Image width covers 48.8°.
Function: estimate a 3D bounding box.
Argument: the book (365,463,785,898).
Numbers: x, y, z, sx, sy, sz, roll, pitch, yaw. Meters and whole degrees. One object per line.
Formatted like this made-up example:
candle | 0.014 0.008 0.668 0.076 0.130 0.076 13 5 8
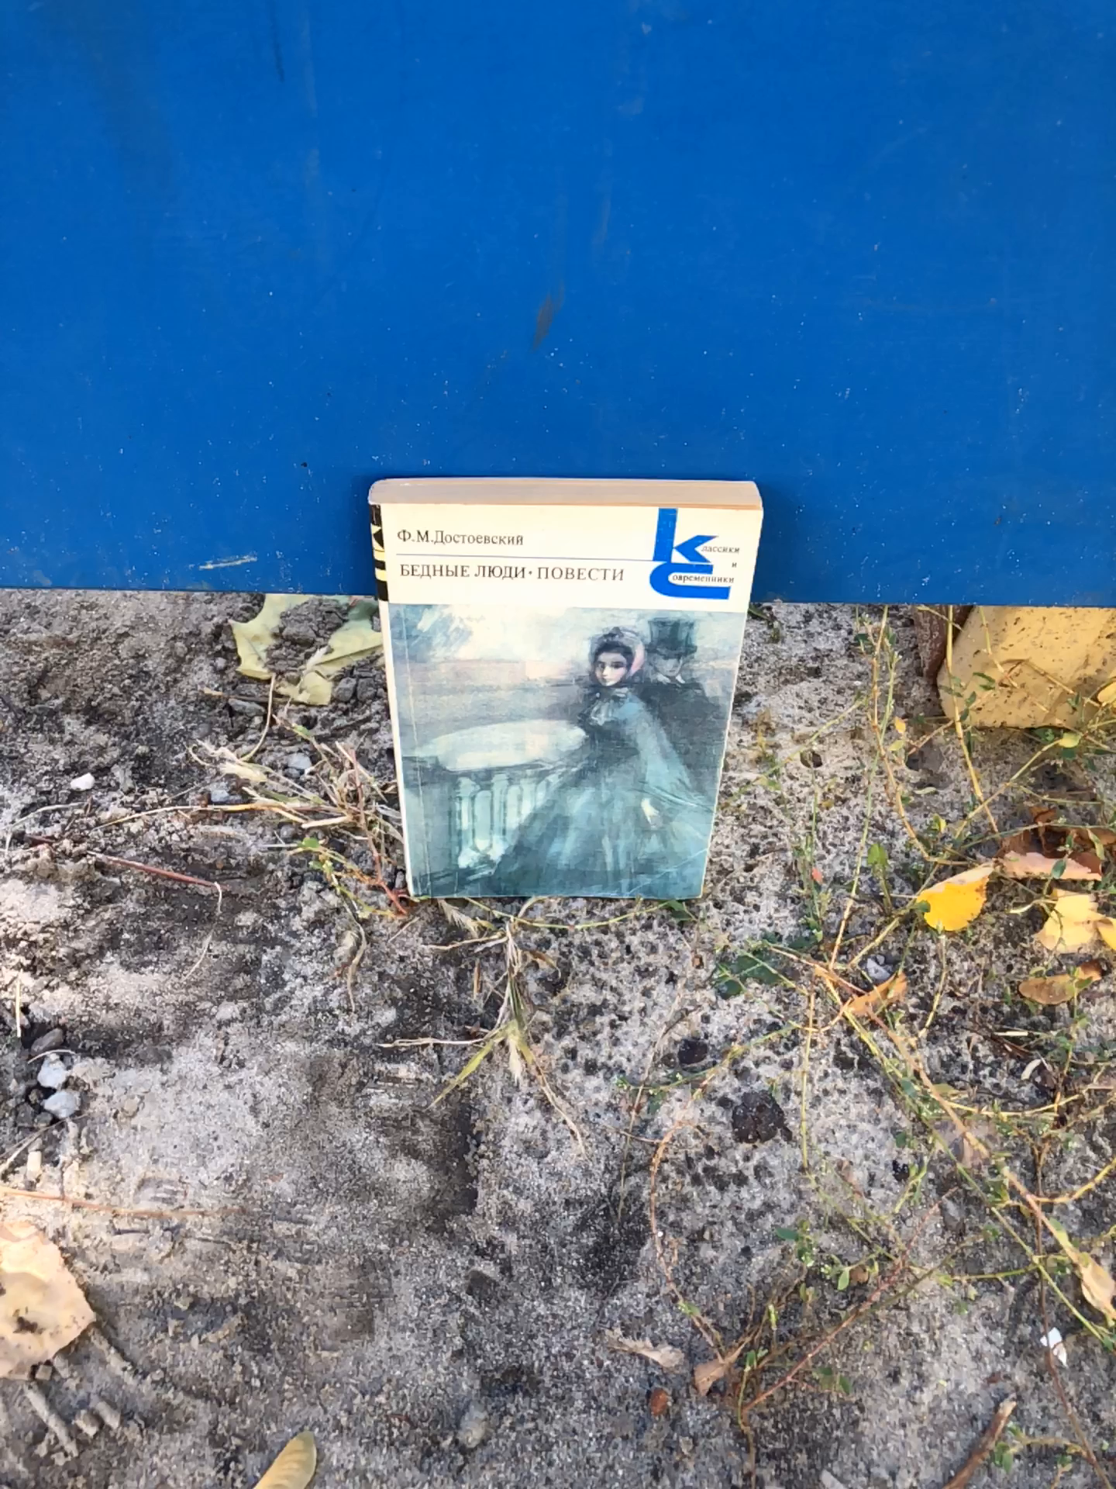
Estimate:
book | 0.003 -0.013 0.447 0.127 0.187 0.026 1 45 -2
